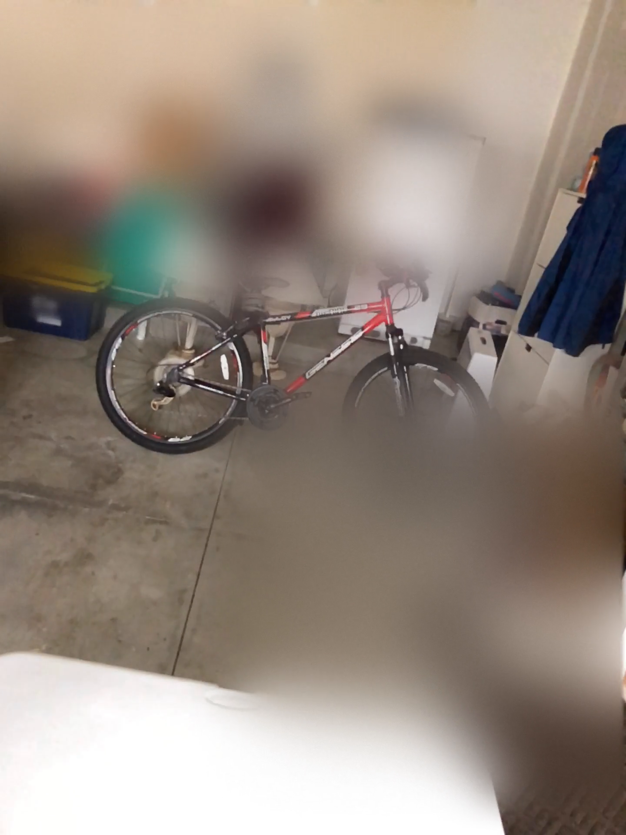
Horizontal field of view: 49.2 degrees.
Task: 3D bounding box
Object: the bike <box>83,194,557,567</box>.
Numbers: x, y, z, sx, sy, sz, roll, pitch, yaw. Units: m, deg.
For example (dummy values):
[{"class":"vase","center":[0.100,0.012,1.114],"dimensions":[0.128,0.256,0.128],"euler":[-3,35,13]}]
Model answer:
[{"class":"bike","center":[-0.076,-0.203,2.908],"dimensions":[1.668,1.054,0.591],"euler":[14,21,4]}]
